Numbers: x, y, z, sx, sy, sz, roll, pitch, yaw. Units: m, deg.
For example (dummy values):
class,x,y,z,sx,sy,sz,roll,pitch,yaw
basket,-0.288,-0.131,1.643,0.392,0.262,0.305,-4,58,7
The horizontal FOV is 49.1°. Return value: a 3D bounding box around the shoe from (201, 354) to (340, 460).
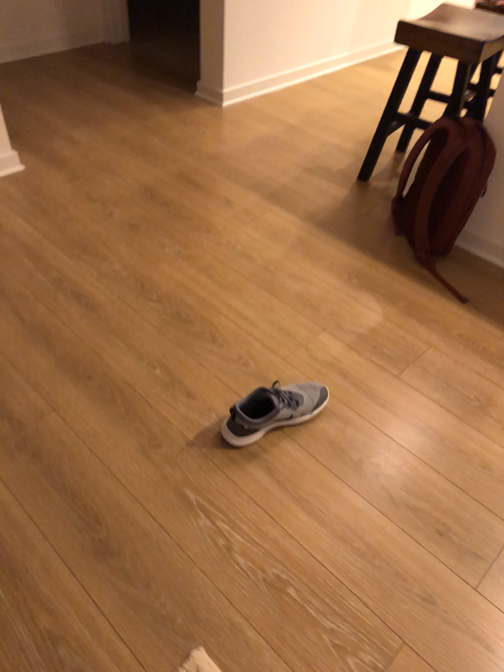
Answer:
class,x,y,z,sx,sy,sz,roll,pitch,yaw
shoe,0.043,0.166,1.346,0.301,0.089,0.141,-18,47,-23
